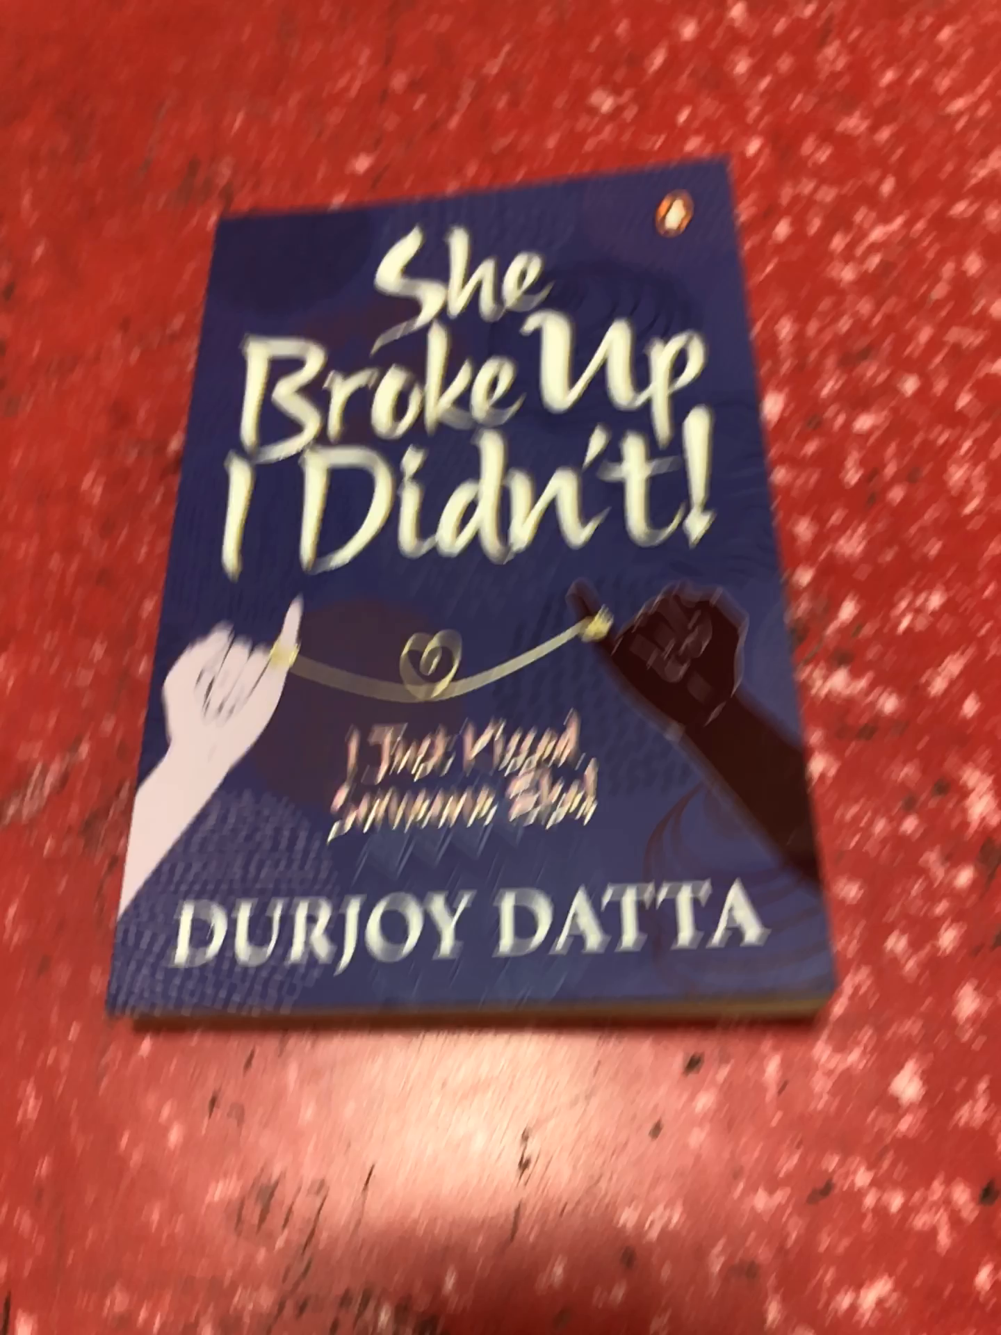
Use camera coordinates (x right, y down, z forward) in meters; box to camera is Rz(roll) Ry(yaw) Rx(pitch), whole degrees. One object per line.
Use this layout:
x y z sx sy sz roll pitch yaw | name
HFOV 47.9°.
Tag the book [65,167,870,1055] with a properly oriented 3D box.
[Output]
-0.006 -0.020 0.241 0.130 0.040 0.190 -2 64 4 | book
